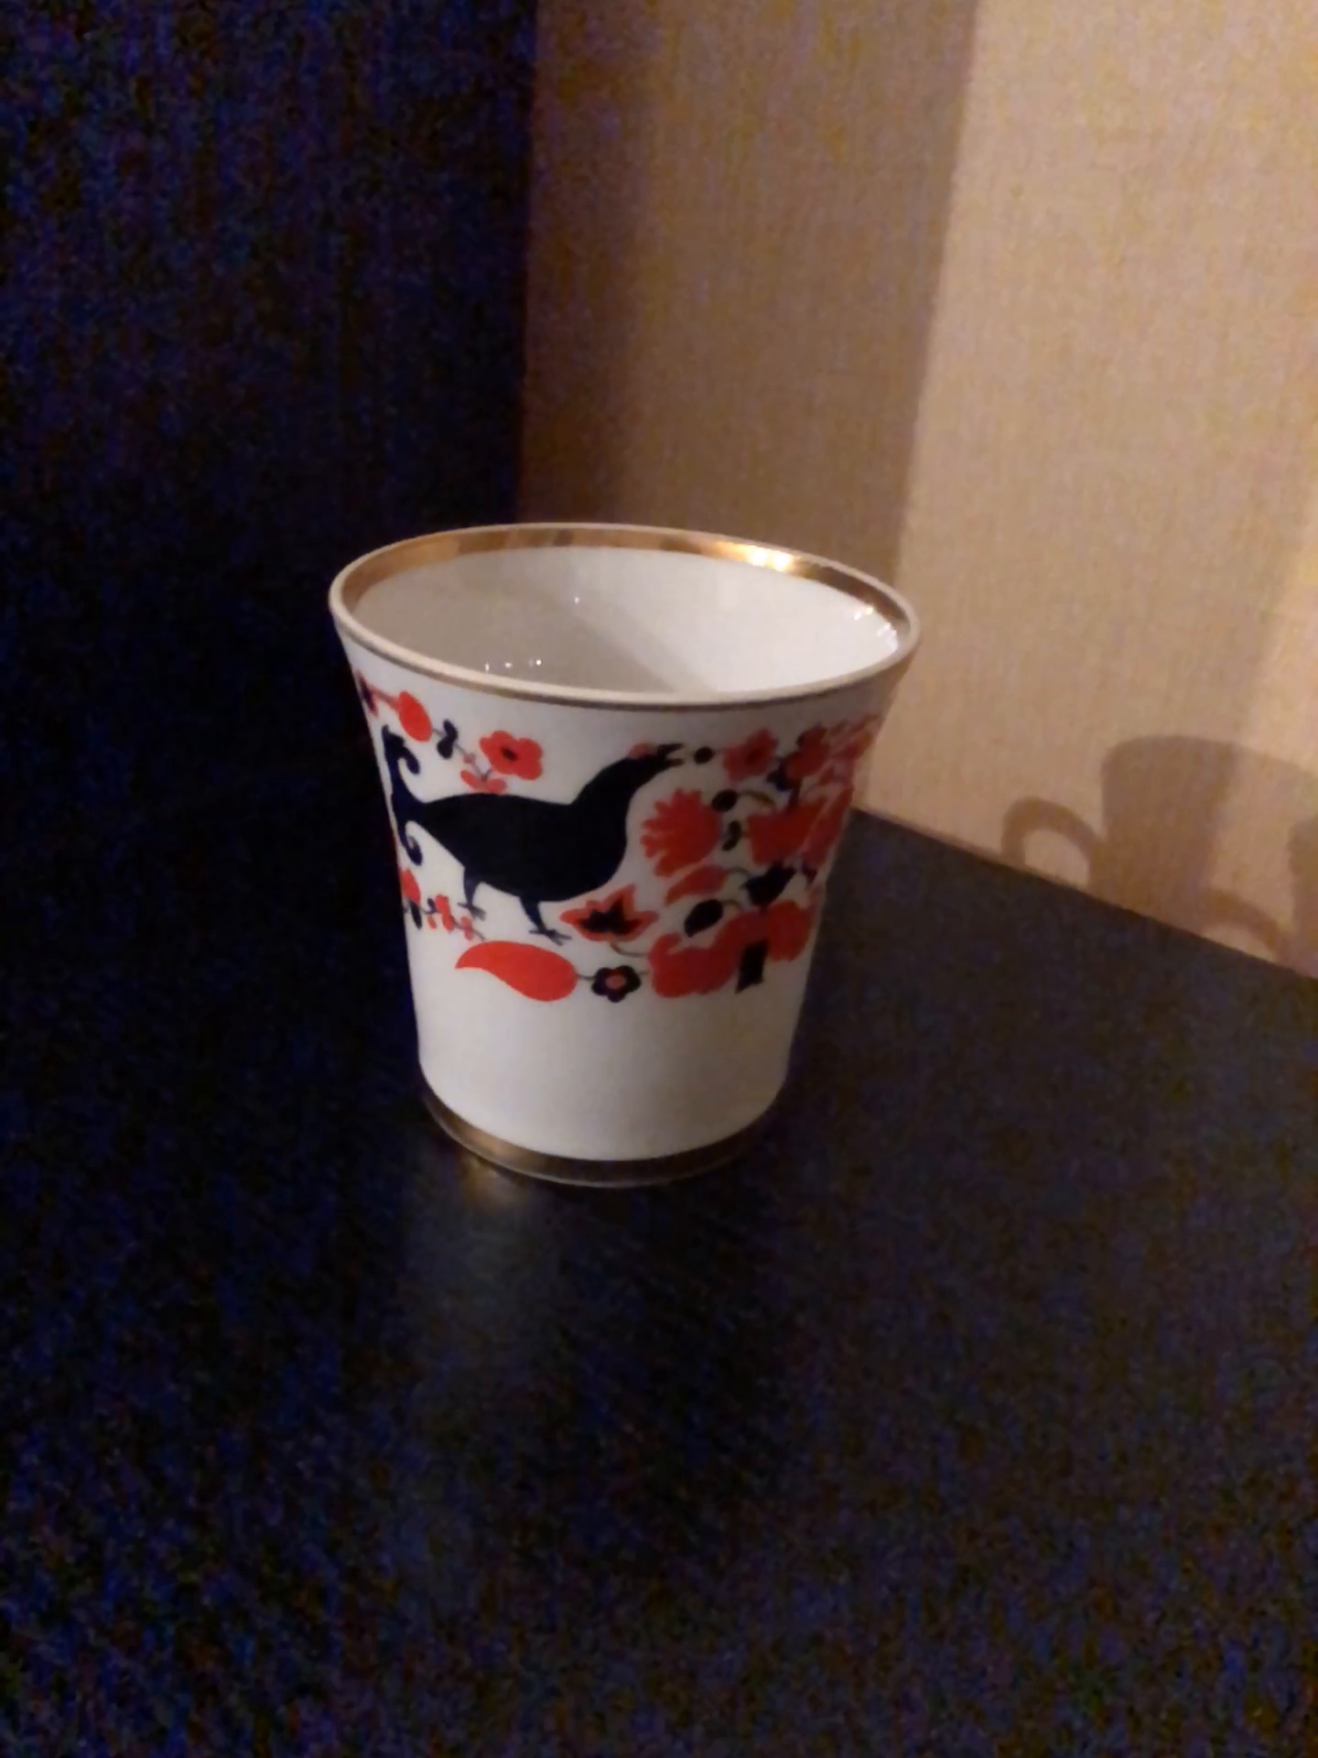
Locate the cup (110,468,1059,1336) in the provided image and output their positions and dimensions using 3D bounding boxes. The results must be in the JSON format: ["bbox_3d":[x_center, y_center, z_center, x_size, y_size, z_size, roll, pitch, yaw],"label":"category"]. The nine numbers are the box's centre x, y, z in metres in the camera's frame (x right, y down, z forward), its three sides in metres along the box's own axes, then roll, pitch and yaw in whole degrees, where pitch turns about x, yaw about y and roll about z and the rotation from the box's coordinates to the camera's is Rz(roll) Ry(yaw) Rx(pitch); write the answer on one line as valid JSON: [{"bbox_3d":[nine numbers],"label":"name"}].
[{"bbox_3d":[-0.016,-0.011,0.268,0.125,0.092,0.103,27,35,36],"label":"cup"}]
